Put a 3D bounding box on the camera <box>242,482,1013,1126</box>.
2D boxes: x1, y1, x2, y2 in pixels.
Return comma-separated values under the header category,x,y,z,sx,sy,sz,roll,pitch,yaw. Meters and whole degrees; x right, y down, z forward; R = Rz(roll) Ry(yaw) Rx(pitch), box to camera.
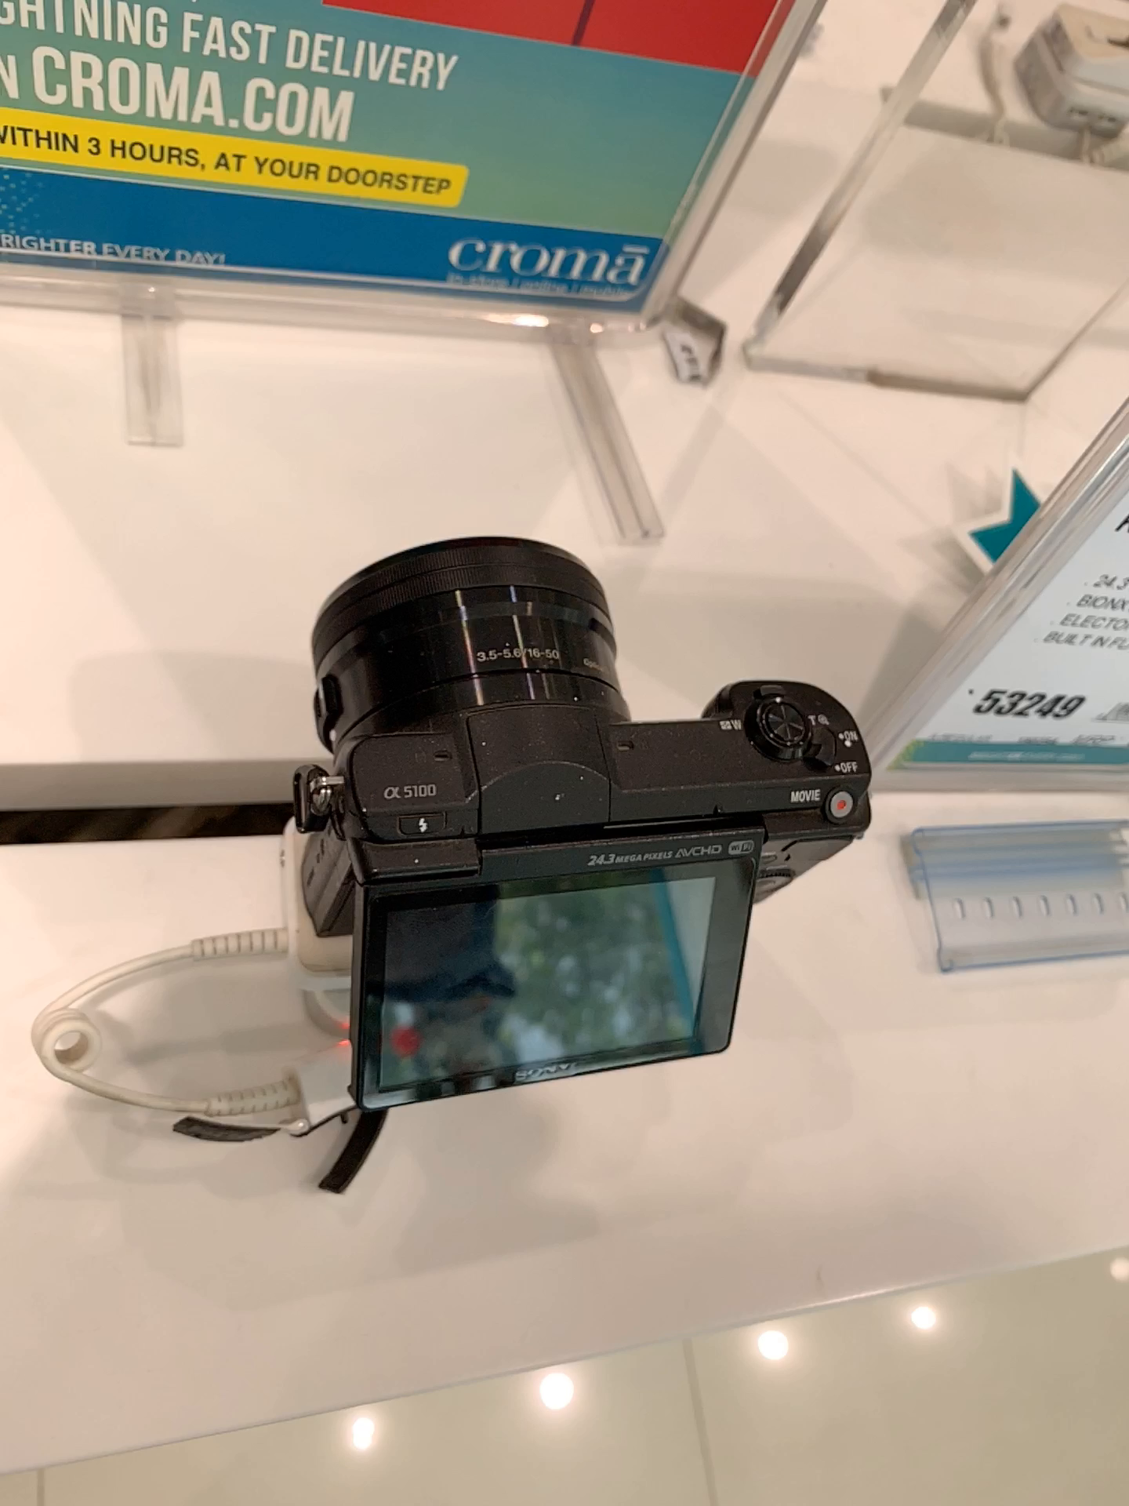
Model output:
category,x,y,z,sx,sy,sz,roll,pitch,yaw
camera,0.002,0.012,0.226,0.111,0.082,0.088,-2,66,-21
